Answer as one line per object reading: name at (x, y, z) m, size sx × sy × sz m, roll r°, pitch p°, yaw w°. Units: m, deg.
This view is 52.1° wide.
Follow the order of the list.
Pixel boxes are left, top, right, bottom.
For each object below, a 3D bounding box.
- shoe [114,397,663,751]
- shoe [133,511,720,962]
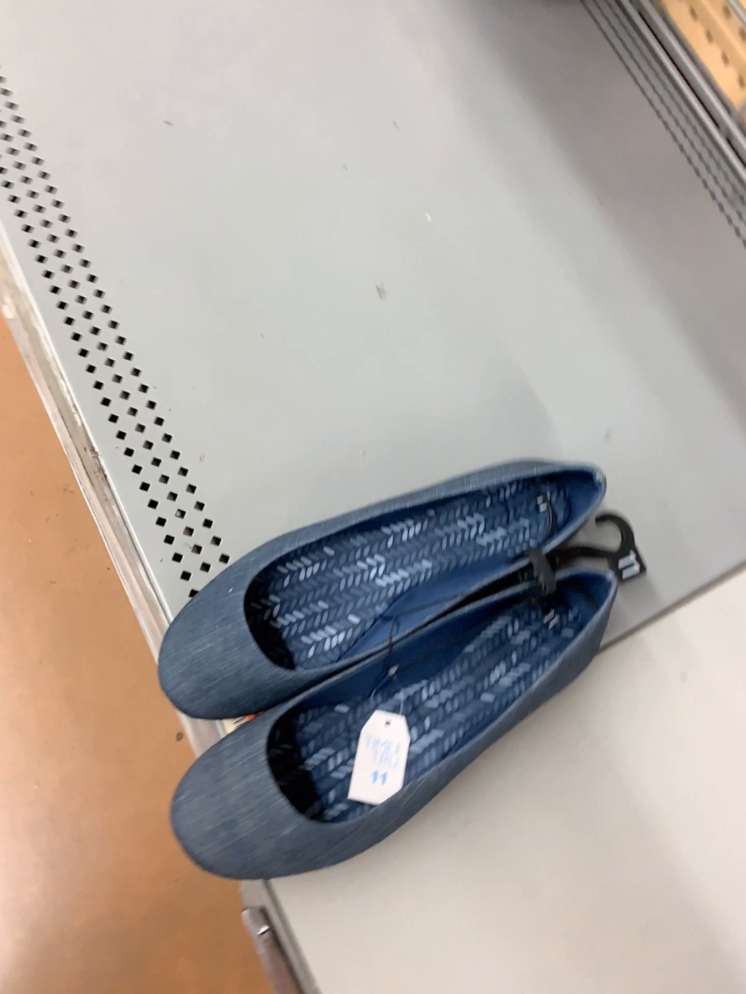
shoe at (0.011, 0.042, 0.442) m, size 0.280 × 0.090 × 0.090 m, roll -20°, pitch 73°, yaw -16°
shoe at (0.031, 0.118, 0.409) m, size 0.280 × 0.090 × 0.090 m, roll -24°, pitch 71°, yaw -17°
